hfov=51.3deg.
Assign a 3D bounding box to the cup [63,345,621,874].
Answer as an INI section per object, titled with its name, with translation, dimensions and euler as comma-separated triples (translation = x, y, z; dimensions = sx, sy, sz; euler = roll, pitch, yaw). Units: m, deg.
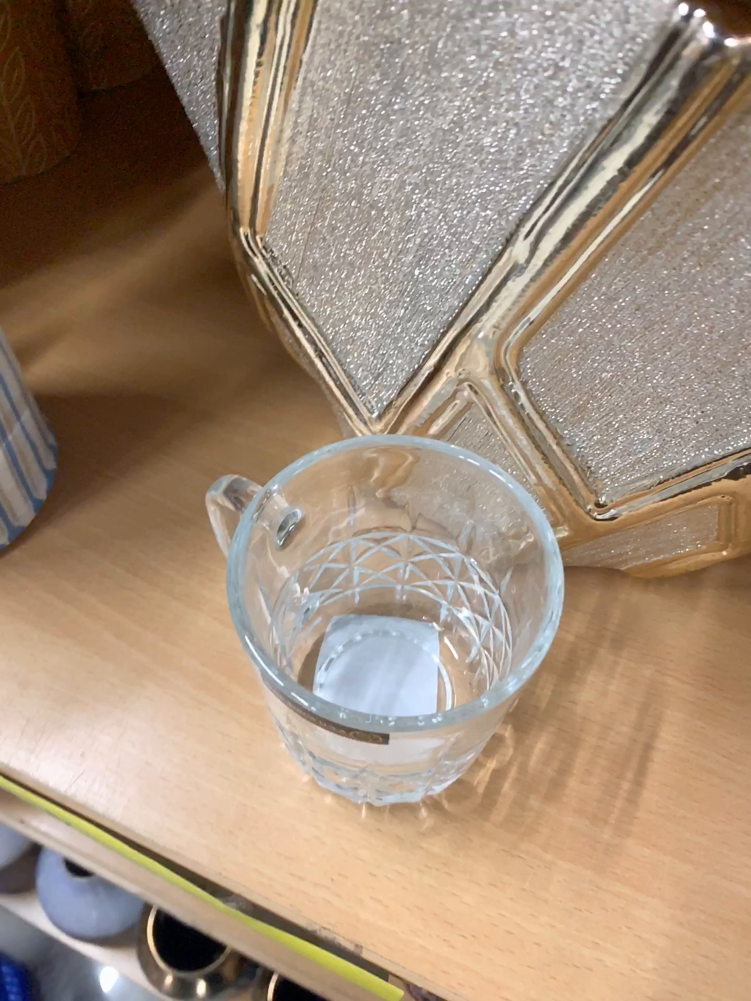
[cup]
translation = -0.007, 0.031, 0.207
dimensions = 0.100, 0.090, 0.070
euler = 25, 58, 14
